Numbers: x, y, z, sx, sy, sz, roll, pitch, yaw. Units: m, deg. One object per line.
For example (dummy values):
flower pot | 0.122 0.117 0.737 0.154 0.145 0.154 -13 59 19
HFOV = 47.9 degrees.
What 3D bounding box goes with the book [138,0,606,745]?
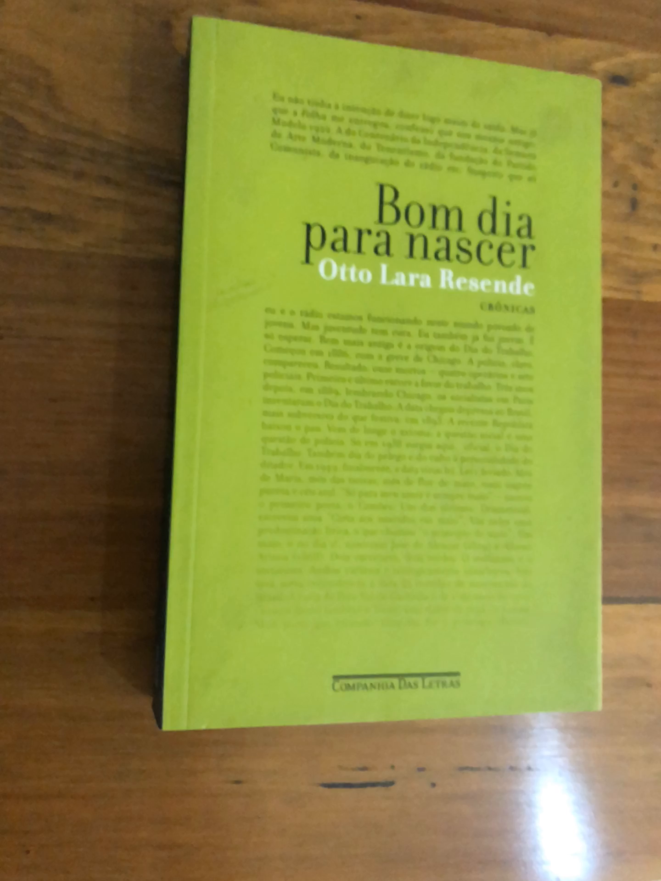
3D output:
book | 0.015 -0.021 0.232 0.136 0.030 0.208 2 85 -13
